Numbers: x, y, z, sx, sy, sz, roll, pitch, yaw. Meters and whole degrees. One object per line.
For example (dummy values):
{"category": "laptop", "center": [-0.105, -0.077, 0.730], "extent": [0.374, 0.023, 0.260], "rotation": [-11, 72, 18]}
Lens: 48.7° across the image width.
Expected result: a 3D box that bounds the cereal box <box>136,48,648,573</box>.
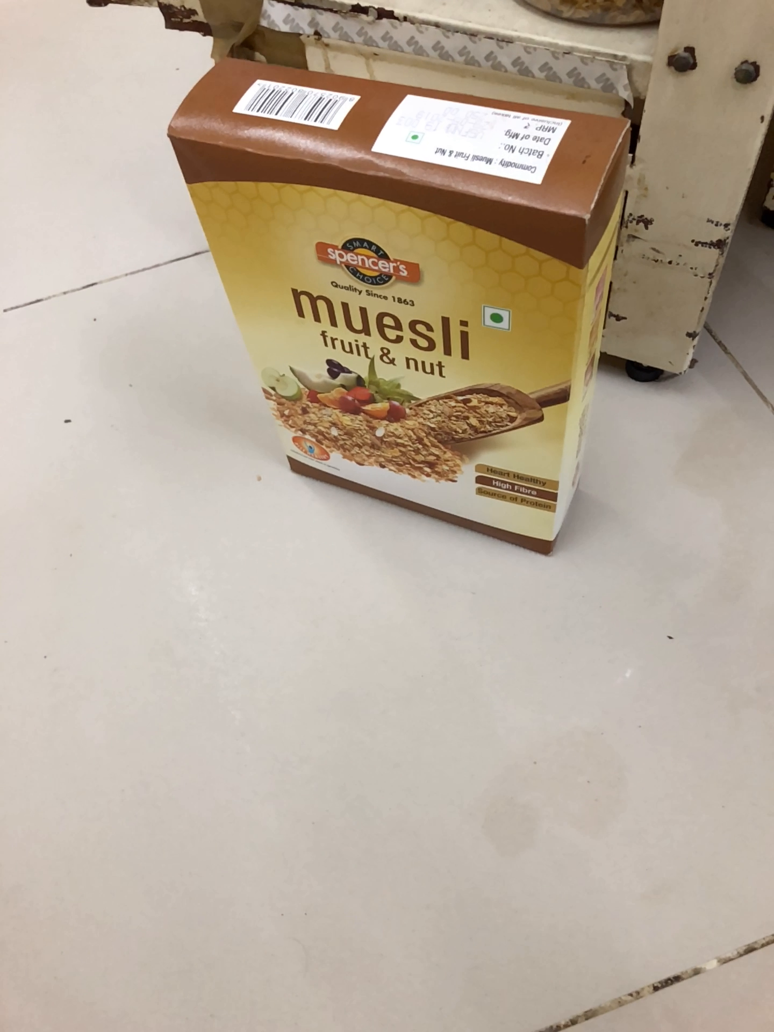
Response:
{"category": "cereal box", "center": [0.009, -0.086, 0.428], "extent": [0.190, 0.239, 0.060], "rotation": [18, 60, 18]}
